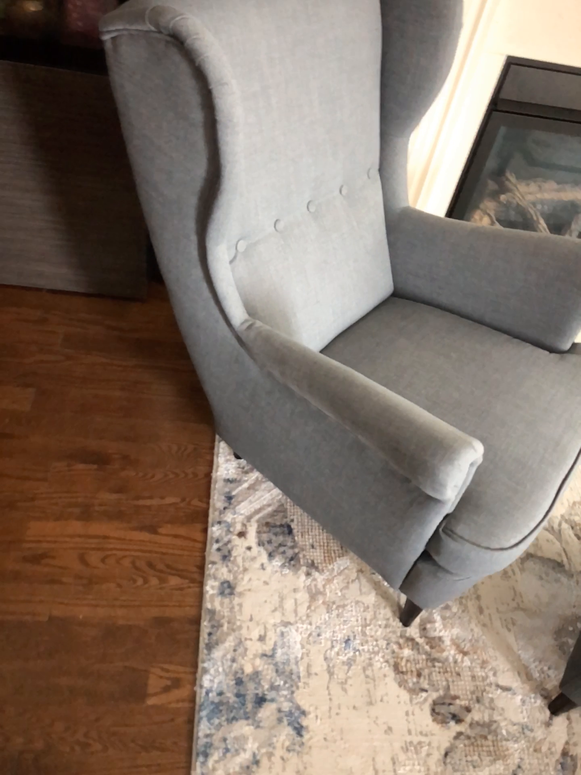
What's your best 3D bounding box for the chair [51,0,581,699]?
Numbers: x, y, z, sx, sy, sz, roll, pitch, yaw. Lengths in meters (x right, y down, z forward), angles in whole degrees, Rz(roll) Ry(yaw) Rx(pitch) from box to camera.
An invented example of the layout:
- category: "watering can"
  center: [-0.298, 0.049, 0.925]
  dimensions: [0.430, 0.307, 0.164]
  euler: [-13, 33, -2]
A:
- category: "chair"
  center: [0.205, -0.173, 1.232]
  dimensions: [0.850, 0.967, 0.802]
  euler: [34, 49, 19]
